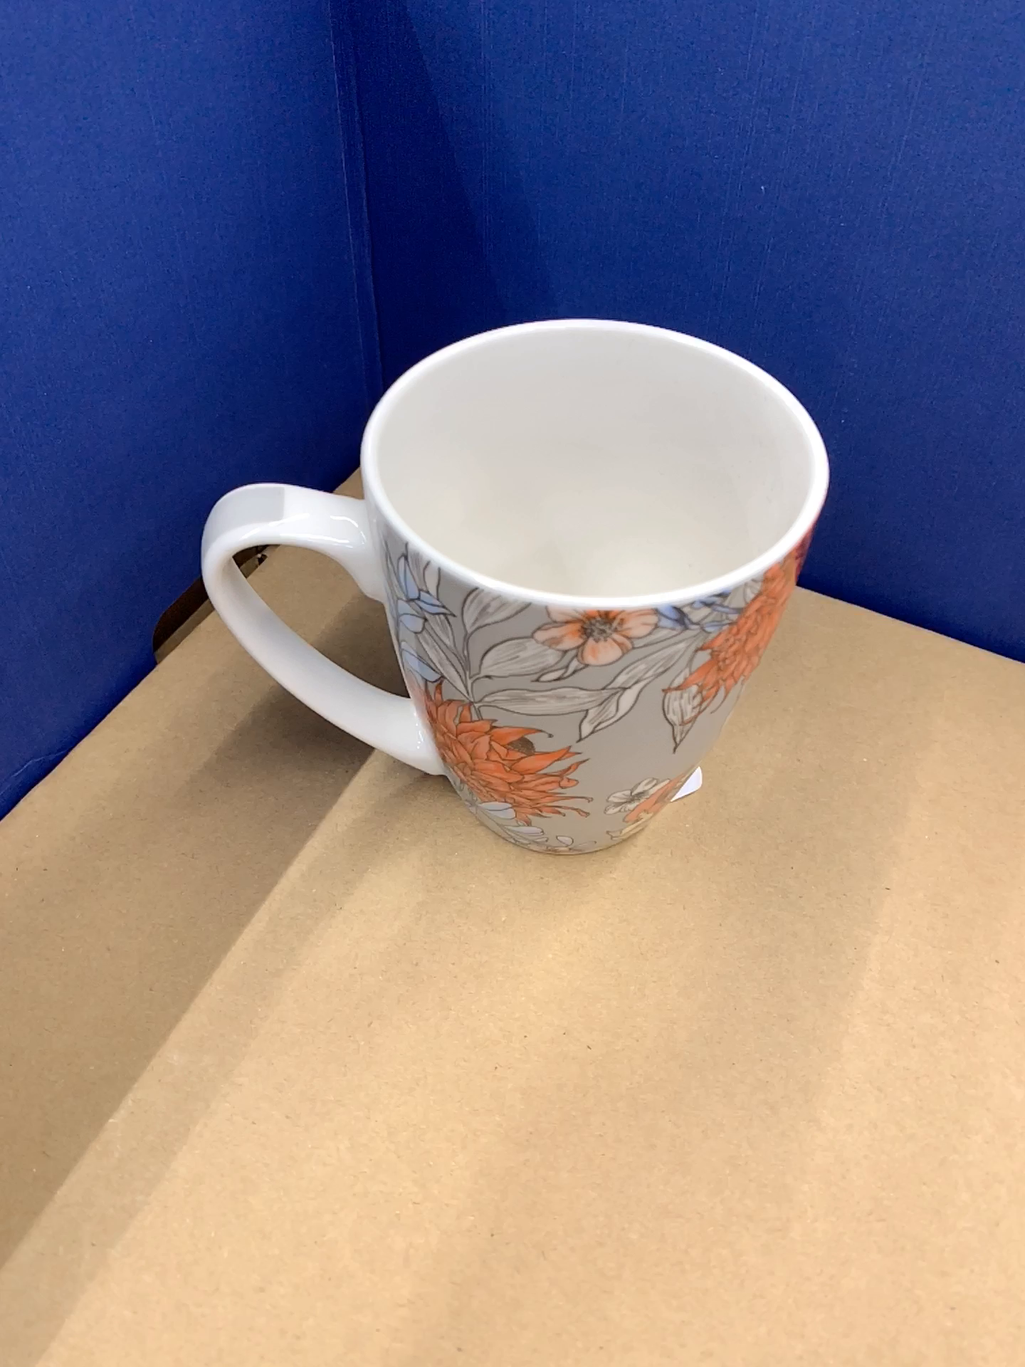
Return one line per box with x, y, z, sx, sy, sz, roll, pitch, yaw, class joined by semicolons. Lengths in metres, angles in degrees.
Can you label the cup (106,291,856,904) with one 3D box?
-0.004;-0.019;0.228;0.117;0.085;0.092;3;47;2;cup
